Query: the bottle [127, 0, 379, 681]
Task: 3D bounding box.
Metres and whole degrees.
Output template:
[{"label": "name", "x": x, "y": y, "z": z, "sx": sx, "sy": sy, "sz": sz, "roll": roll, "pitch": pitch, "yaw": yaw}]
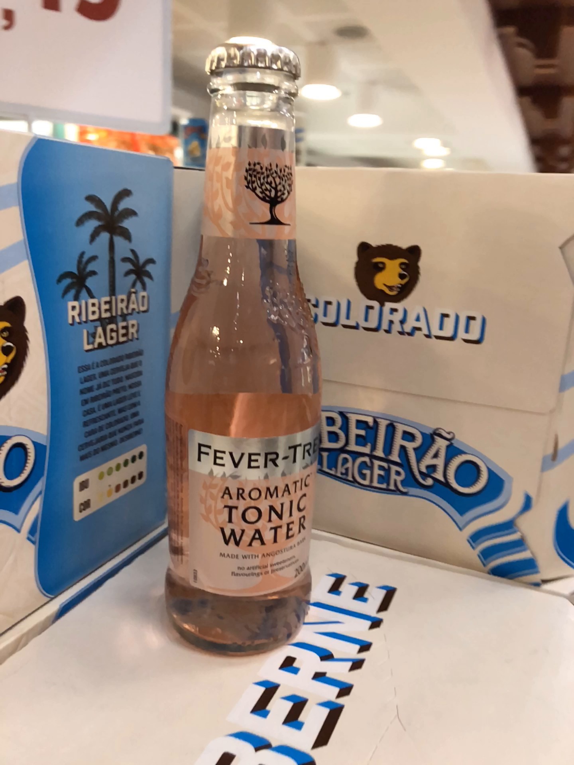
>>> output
[{"label": "bottle", "x": -0.017, "y": -0.009, "z": 0.210, "sx": 0.060, "sy": 0.189, "sz": 0.050, "roll": -3, "pitch": 14, "yaw": -26}]
